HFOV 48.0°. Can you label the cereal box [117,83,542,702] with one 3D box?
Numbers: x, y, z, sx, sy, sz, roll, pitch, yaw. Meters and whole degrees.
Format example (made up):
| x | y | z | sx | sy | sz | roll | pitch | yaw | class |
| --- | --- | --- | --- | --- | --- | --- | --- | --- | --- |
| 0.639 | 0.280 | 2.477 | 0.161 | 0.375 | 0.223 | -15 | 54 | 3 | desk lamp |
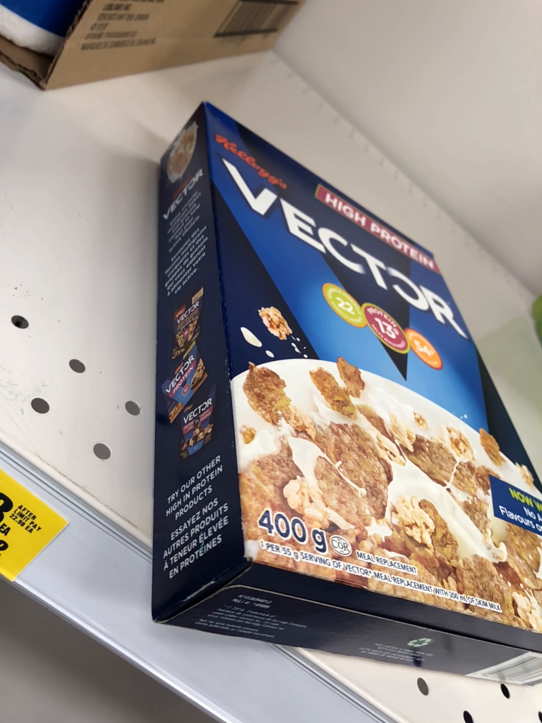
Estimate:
| x | y | z | sx | sy | sz | roll | pitch | yaw | class |
| --- | --- | --- | --- | --- | --- | --- | --- | --- | --- |
| 0.035 | -0.002 | 0.308 | 0.211 | 0.050 | 0.290 | 25 | 35 | -31 | cereal box |
